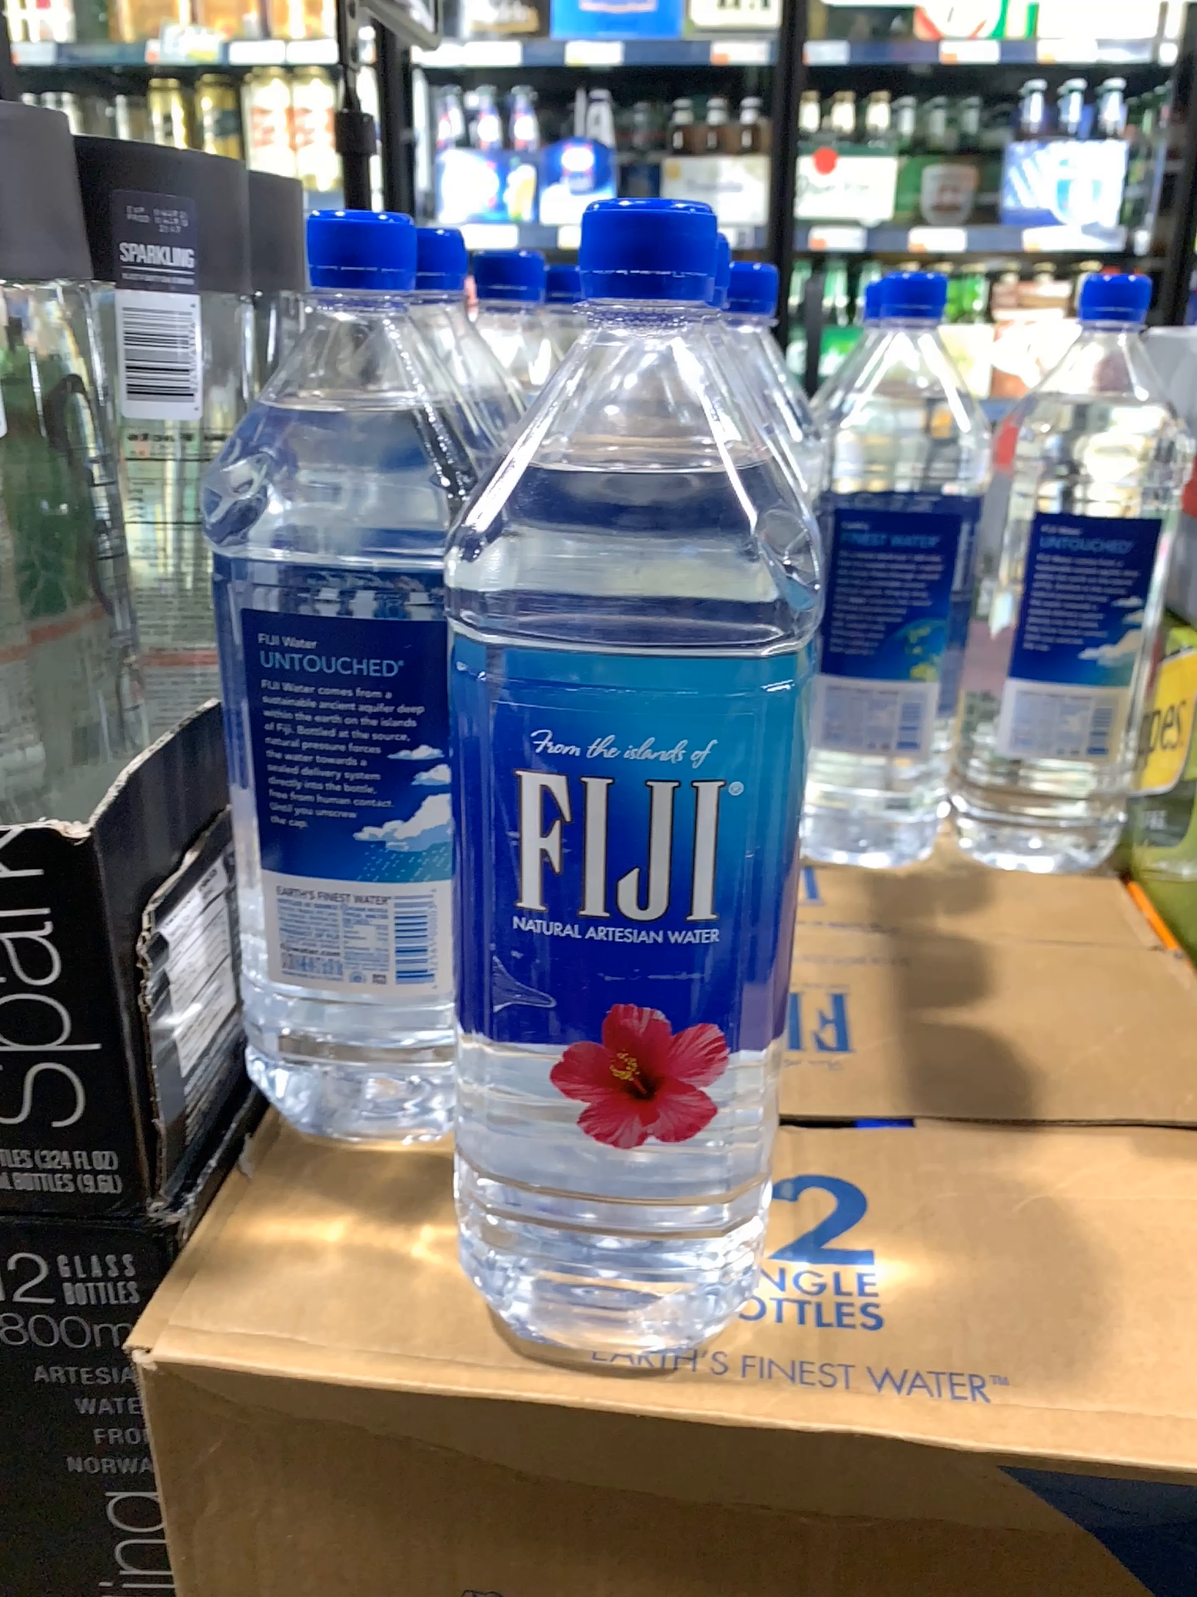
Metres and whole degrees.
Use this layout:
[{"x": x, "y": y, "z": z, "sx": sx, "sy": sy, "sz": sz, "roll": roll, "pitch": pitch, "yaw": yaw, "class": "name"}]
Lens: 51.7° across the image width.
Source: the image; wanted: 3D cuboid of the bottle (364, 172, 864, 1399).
[{"x": 0.007, "y": 0.004, "z": 0.307, "sx": 0.090, "sy": 0.279, "sz": 0.080, "roll": 4, "pitch": 22, "yaw": 9, "class": "bottle"}]
